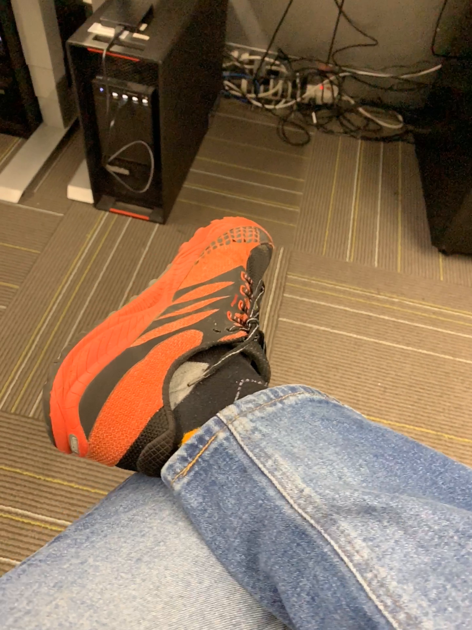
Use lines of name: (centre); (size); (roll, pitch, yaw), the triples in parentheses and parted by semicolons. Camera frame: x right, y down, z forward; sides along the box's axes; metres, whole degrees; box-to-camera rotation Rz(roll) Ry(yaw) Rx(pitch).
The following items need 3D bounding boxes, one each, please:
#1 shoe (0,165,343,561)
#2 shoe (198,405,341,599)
shoe: (-0.032, 0.013, 0.436); (0.146, 0.110, 0.322); (20, 52, 15)
shoe: (0.069, 0.334, 0.909); (0.117, 0.067, 0.319); (31, 56, 11)
